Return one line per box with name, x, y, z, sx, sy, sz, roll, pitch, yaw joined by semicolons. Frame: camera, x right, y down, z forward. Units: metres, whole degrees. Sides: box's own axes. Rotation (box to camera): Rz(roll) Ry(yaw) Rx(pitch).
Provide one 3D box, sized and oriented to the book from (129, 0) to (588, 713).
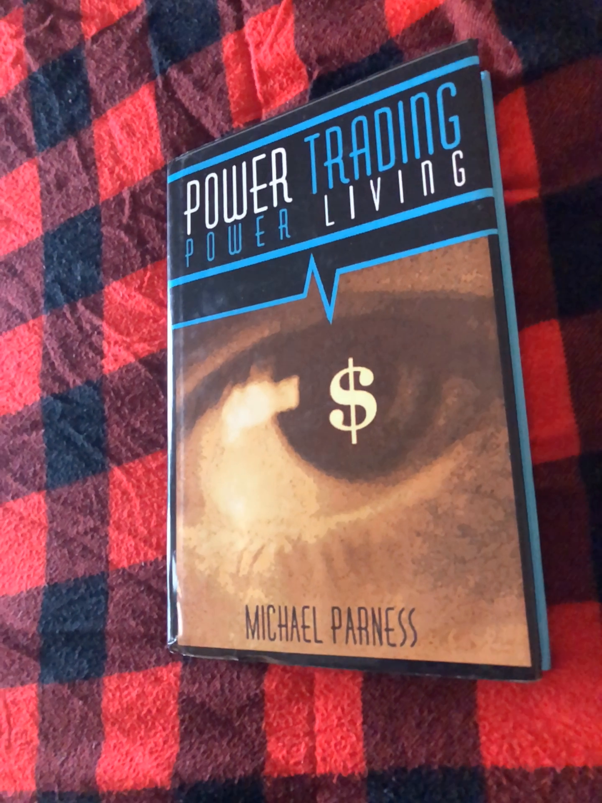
book;0.008;-0.015;0.271;0.171;0.040;0.240;-8;79;29
